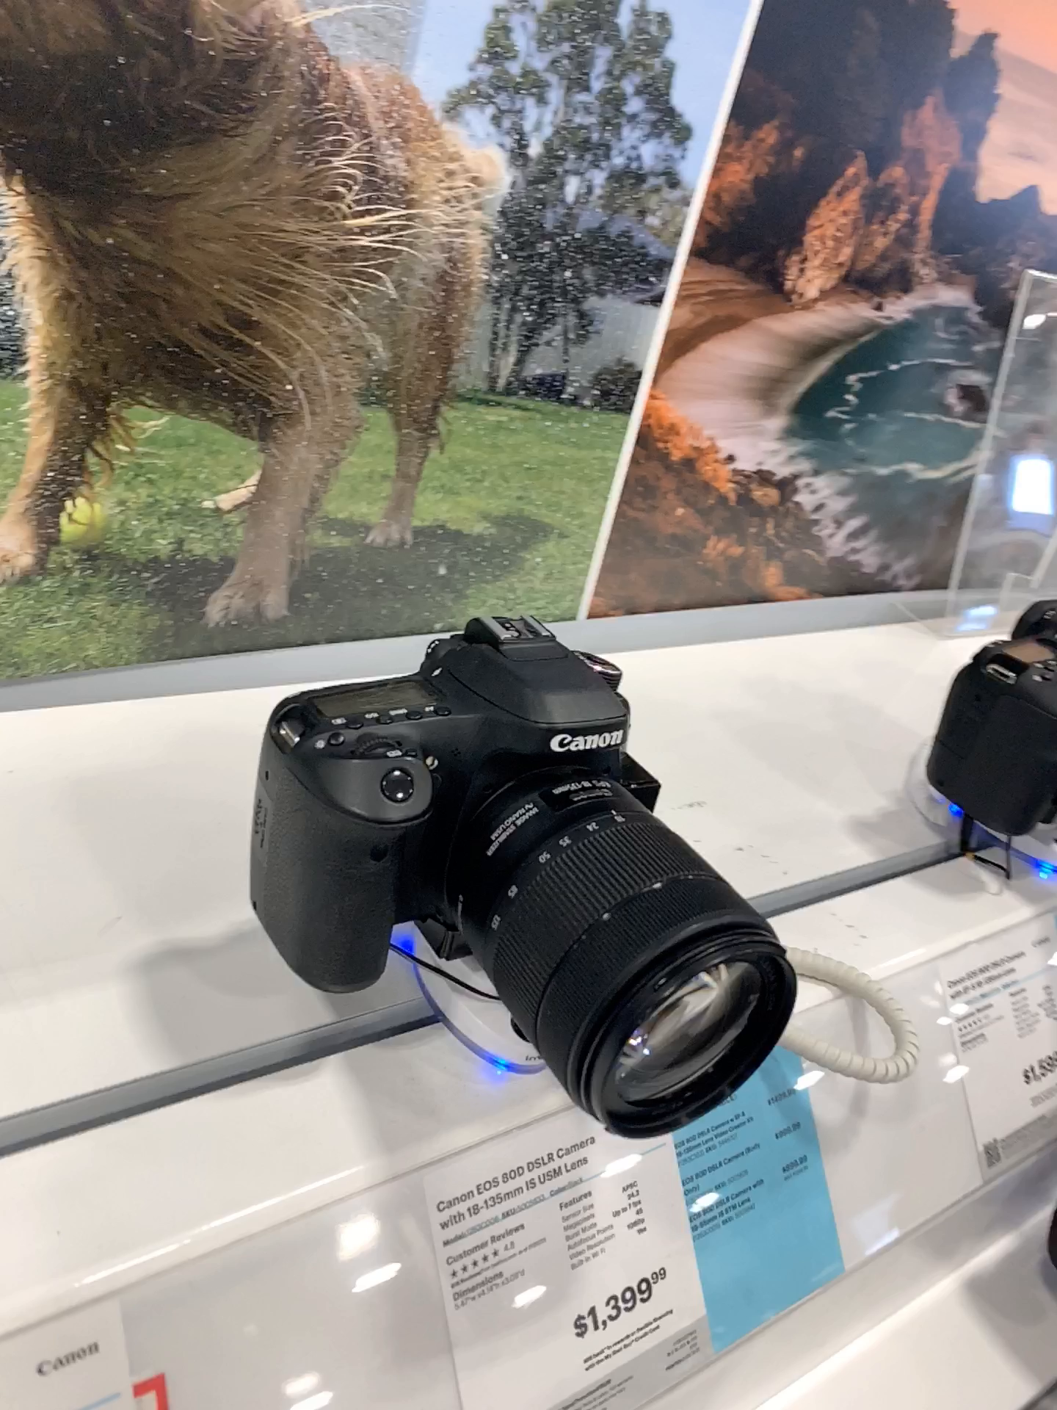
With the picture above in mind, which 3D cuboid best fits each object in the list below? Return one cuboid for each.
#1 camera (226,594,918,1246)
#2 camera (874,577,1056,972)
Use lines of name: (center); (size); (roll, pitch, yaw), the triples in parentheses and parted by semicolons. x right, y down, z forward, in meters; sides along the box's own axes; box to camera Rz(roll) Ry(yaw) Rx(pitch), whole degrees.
camera: (0.002, 0.048, 0.352); (0.140, 0.099, 0.161); (-8, 35, -35)
camera: (0.291, 0.021, 0.530); (0.140, 0.099, 0.161); (-8, 35, -35)
